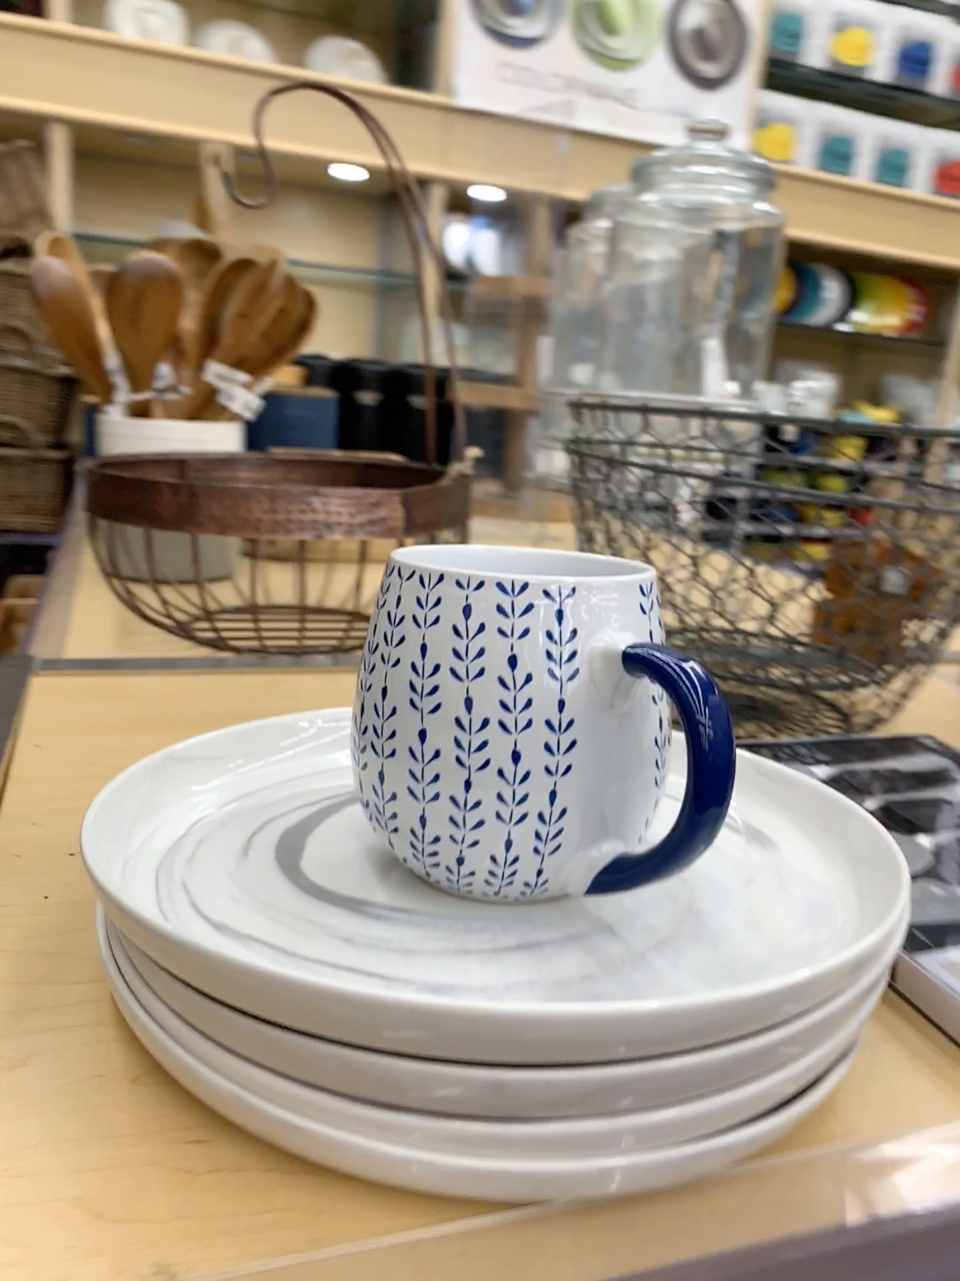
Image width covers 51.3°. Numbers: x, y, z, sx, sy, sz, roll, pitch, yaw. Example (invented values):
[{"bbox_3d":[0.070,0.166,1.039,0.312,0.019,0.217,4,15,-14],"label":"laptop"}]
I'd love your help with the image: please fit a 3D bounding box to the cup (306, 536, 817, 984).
[{"bbox_3d":[0.019,0.024,0.330,0.104,0.097,0.128,-7,16,-36],"label":"cup"}]
